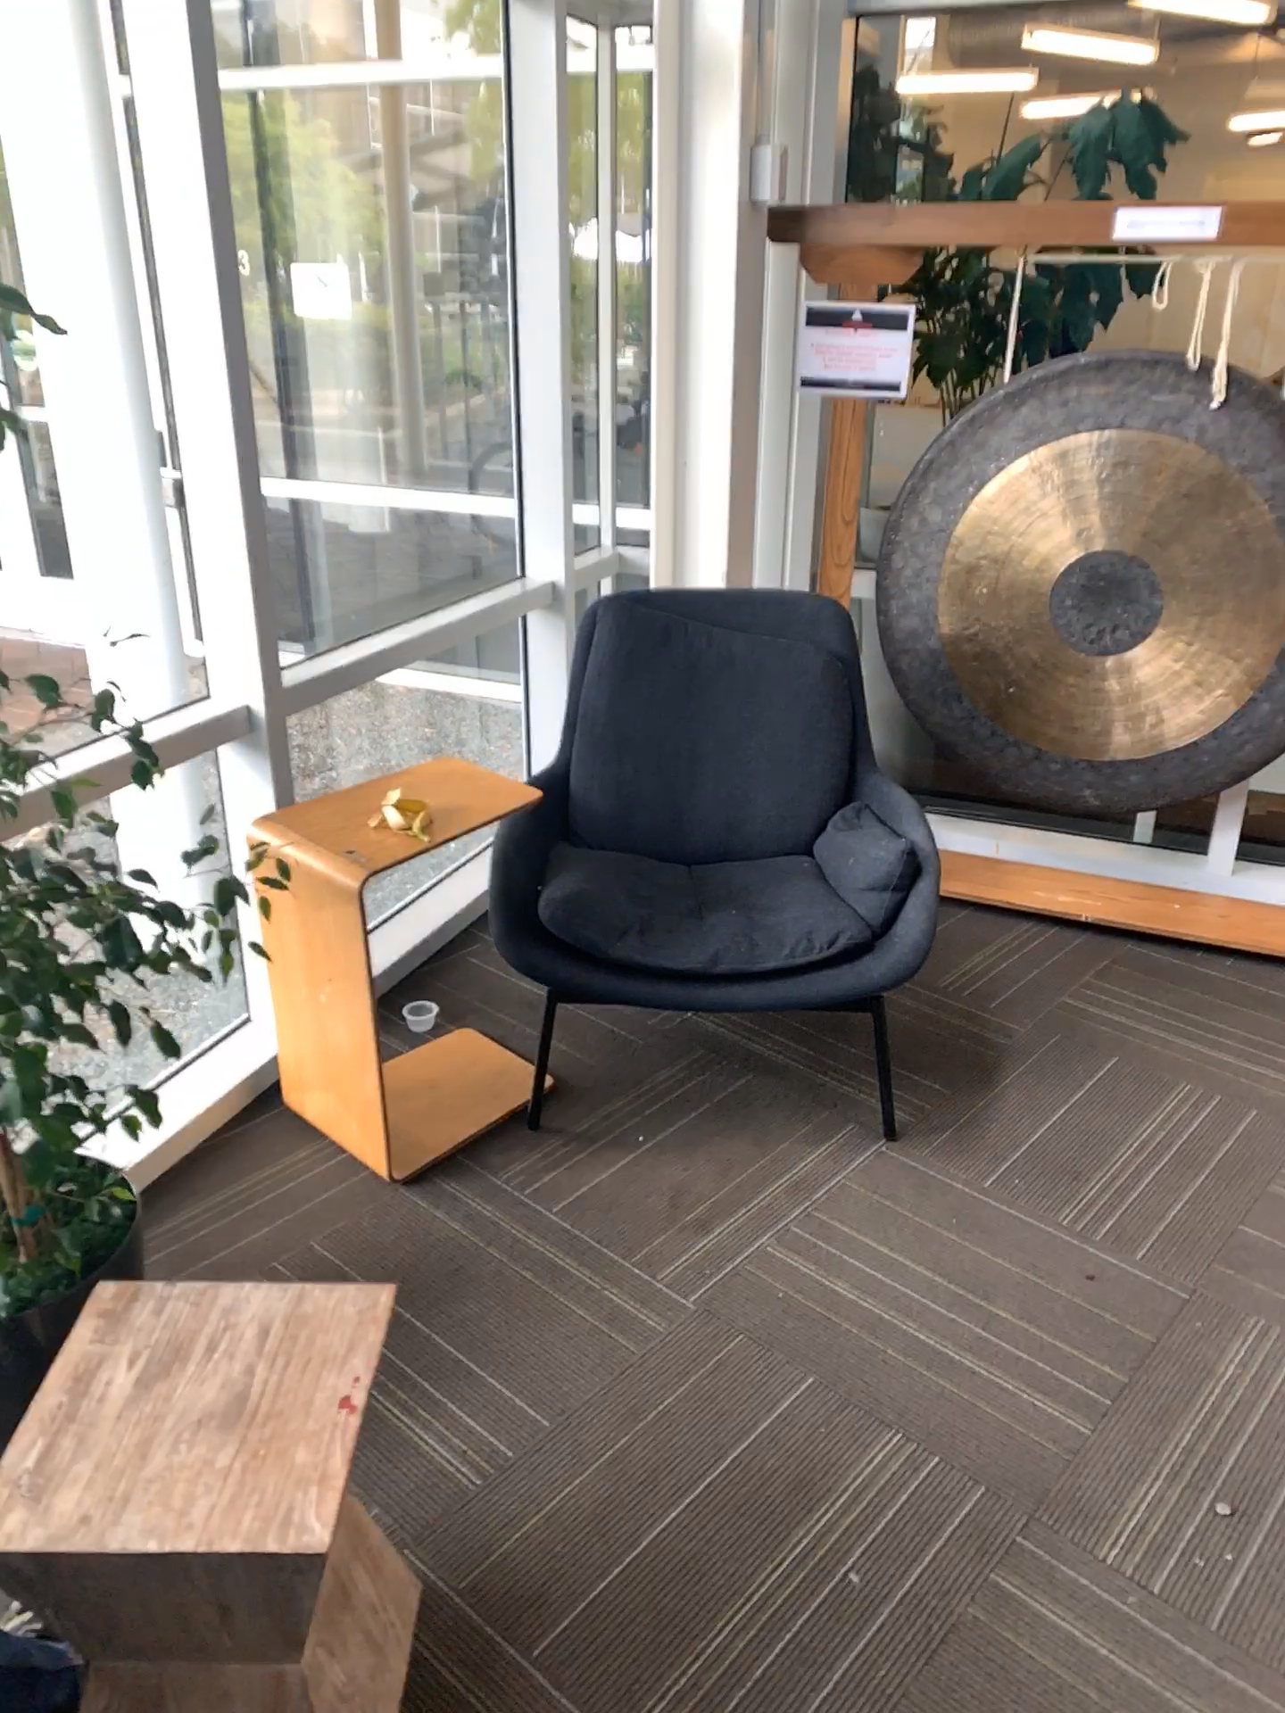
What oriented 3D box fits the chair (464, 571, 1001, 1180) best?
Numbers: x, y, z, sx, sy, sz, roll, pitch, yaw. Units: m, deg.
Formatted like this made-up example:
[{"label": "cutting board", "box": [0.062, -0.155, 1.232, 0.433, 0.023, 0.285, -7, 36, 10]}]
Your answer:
[{"label": "chair", "box": [0.153, -0.017, 2.814, 0.900, 0.995, 0.945, 1, 23, 1]}]
